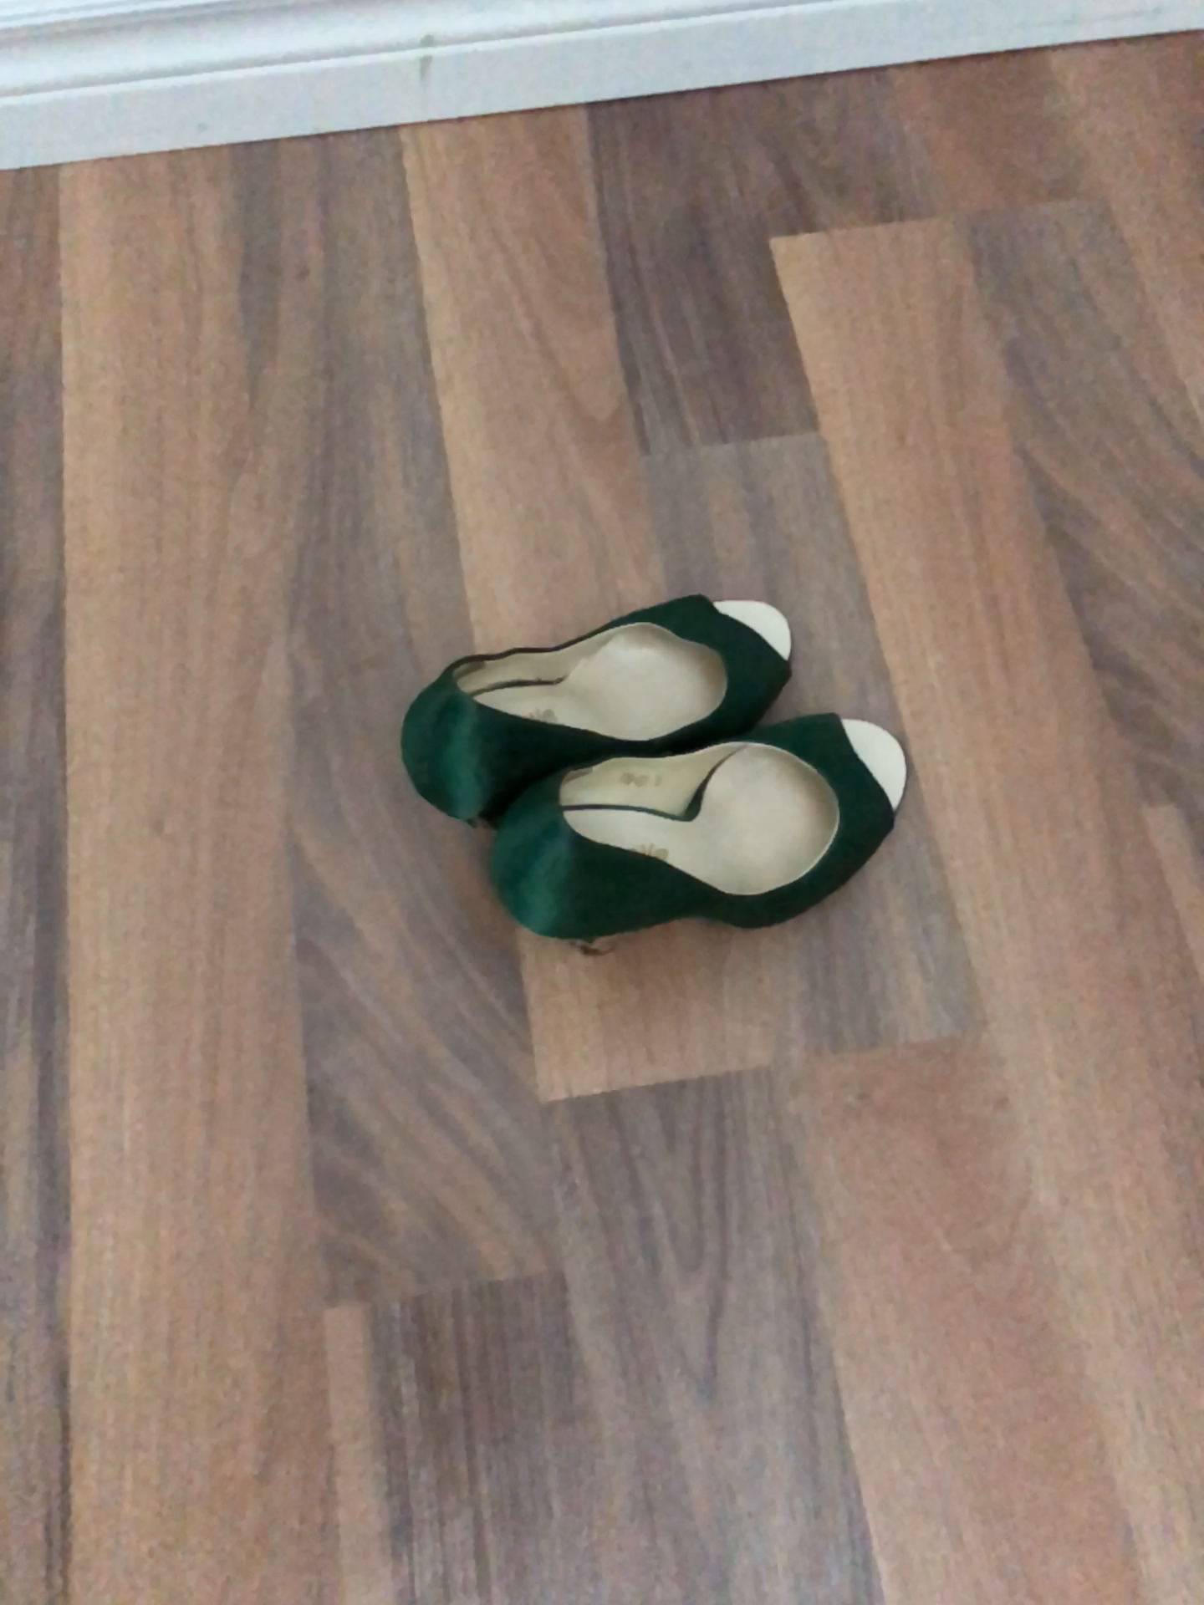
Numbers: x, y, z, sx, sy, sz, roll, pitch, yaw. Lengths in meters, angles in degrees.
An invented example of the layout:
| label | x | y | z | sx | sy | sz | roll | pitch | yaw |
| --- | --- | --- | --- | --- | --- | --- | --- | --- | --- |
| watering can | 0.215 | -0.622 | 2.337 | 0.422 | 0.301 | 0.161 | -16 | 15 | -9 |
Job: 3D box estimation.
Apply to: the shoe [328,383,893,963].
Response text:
| label | x | y | z | sx | sy | sz | roll | pitch | yaw |
| --- | --- | --- | --- | --- | --- | --- | --- | --- | --- |
| shoe | 0.007 | -0.051 | 0.566 | 0.210 | 0.130 | 0.090 | -41 | 73 | -15 |

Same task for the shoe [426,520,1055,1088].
| label | x | y | z | sx | sy | sz | roll | pitch | yaw |
| --- | --- | --- | --- | --- | --- | --- | --- | --- | --- |
| shoe | 0.051 | 0.005 | 0.532 | 0.210 | 0.130 | 0.090 | -32 | 71 | -12 |
